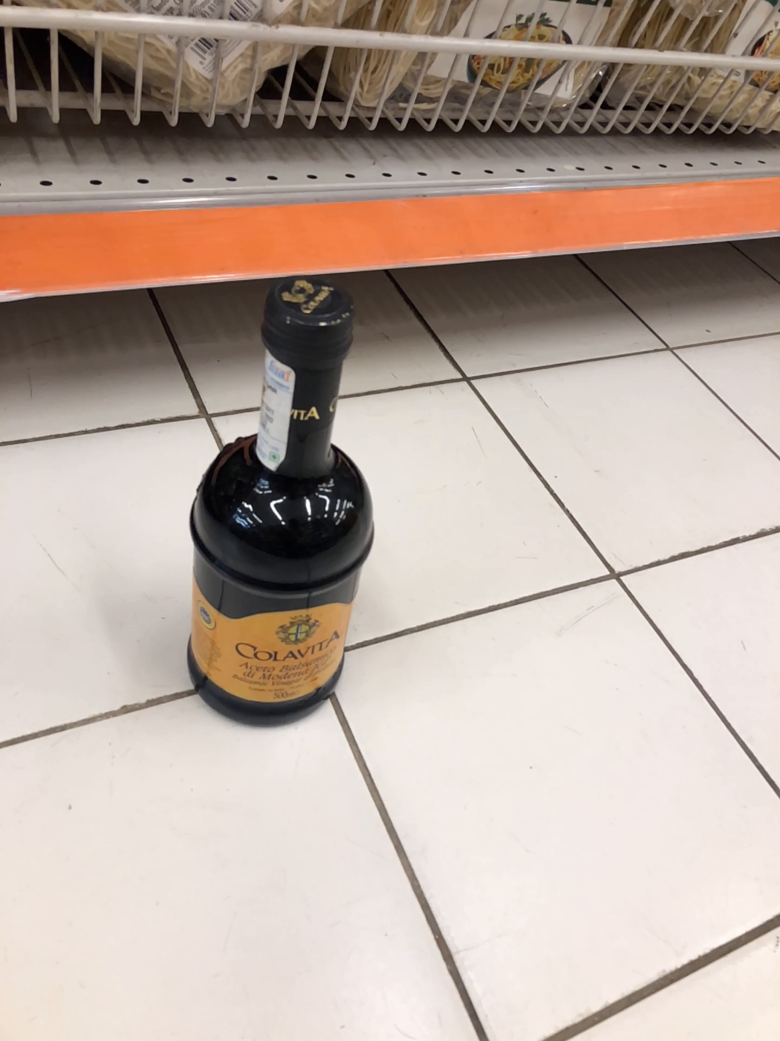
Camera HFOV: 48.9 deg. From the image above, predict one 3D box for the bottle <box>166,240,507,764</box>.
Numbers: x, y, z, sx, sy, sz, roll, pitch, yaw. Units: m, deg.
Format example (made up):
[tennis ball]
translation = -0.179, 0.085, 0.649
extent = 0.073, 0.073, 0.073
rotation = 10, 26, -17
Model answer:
[bottle]
translation = -0.037, -0.001, 0.356
extent = 0.090, 0.199, 0.090
rotation = 7, 44, -7
